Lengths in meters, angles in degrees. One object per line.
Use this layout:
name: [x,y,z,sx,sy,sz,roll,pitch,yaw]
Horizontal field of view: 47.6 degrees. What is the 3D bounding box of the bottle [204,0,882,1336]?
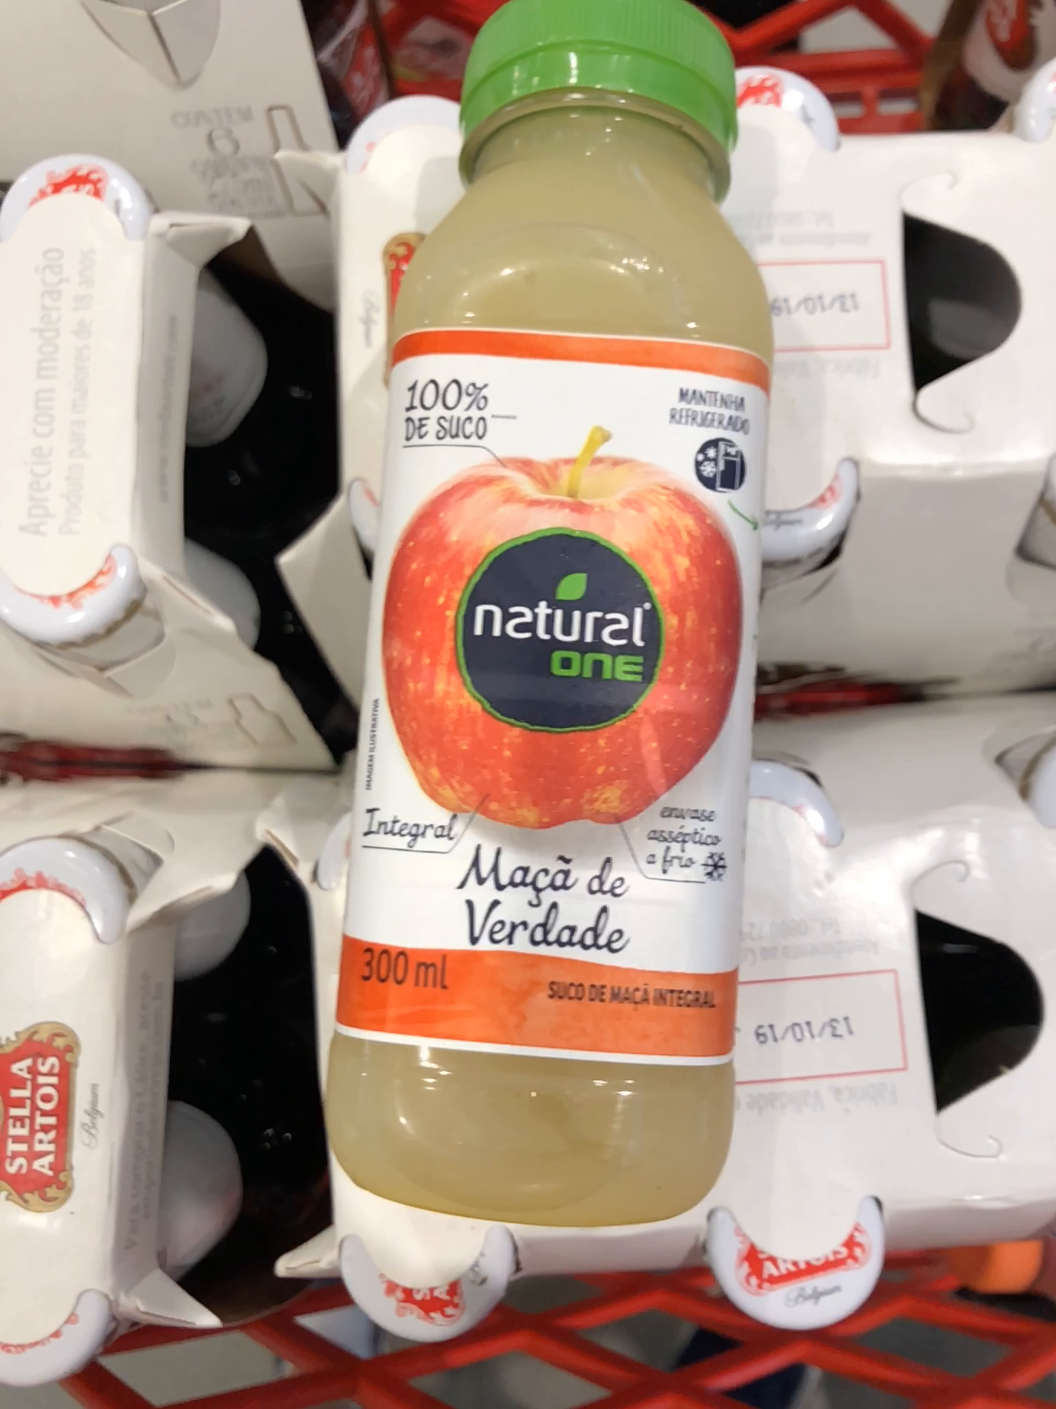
bottle: [0.007,-0.027,0.158,0.060,0.060,0.180,4,82,5]
